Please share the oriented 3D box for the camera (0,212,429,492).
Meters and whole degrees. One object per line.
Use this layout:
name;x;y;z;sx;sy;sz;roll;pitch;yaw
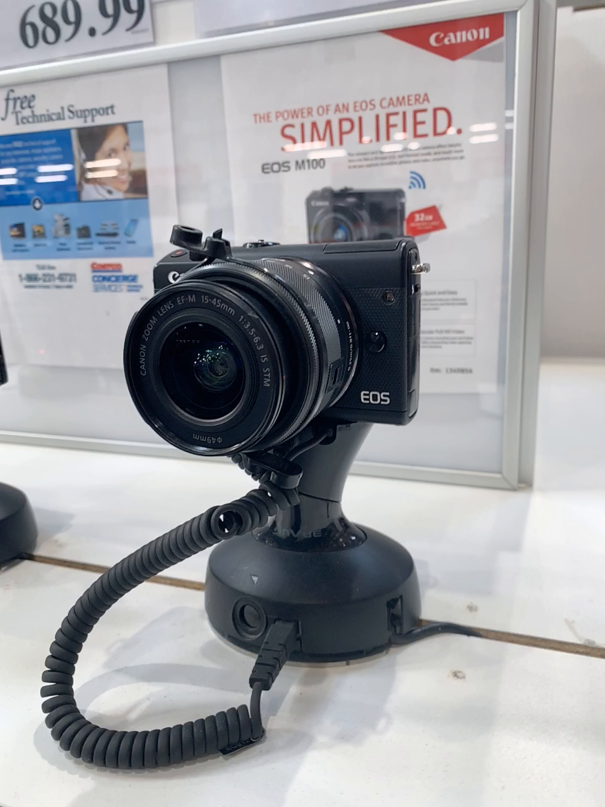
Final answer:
camera;-0.023;-0.022;0.214;0.110;0.066;0.093;4;11;24
